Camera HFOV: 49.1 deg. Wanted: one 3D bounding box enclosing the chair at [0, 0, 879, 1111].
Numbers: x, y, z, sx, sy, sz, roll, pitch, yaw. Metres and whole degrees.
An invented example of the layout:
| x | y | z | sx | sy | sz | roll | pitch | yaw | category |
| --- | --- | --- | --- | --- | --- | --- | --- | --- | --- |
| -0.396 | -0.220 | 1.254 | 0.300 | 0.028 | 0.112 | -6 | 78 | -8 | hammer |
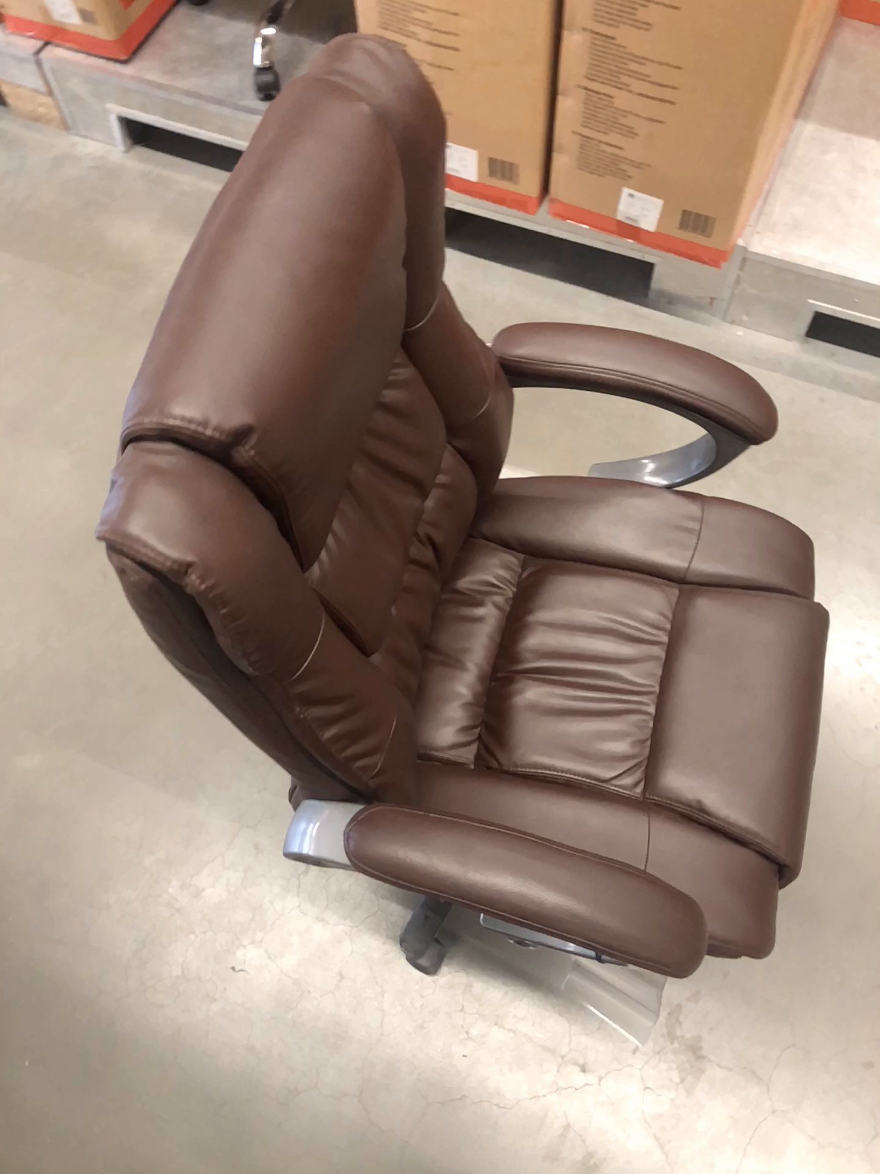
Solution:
| x | y | z | sx | sy | sz | roll | pitch | yaw | category |
| --- | --- | --- | --- | --- | --- | --- | --- | --- | --- |
| 0.156 | 0.069 | 1.052 | 0.650 | 1.096 | 0.683 | 14 | 65 | 9 | chair |
